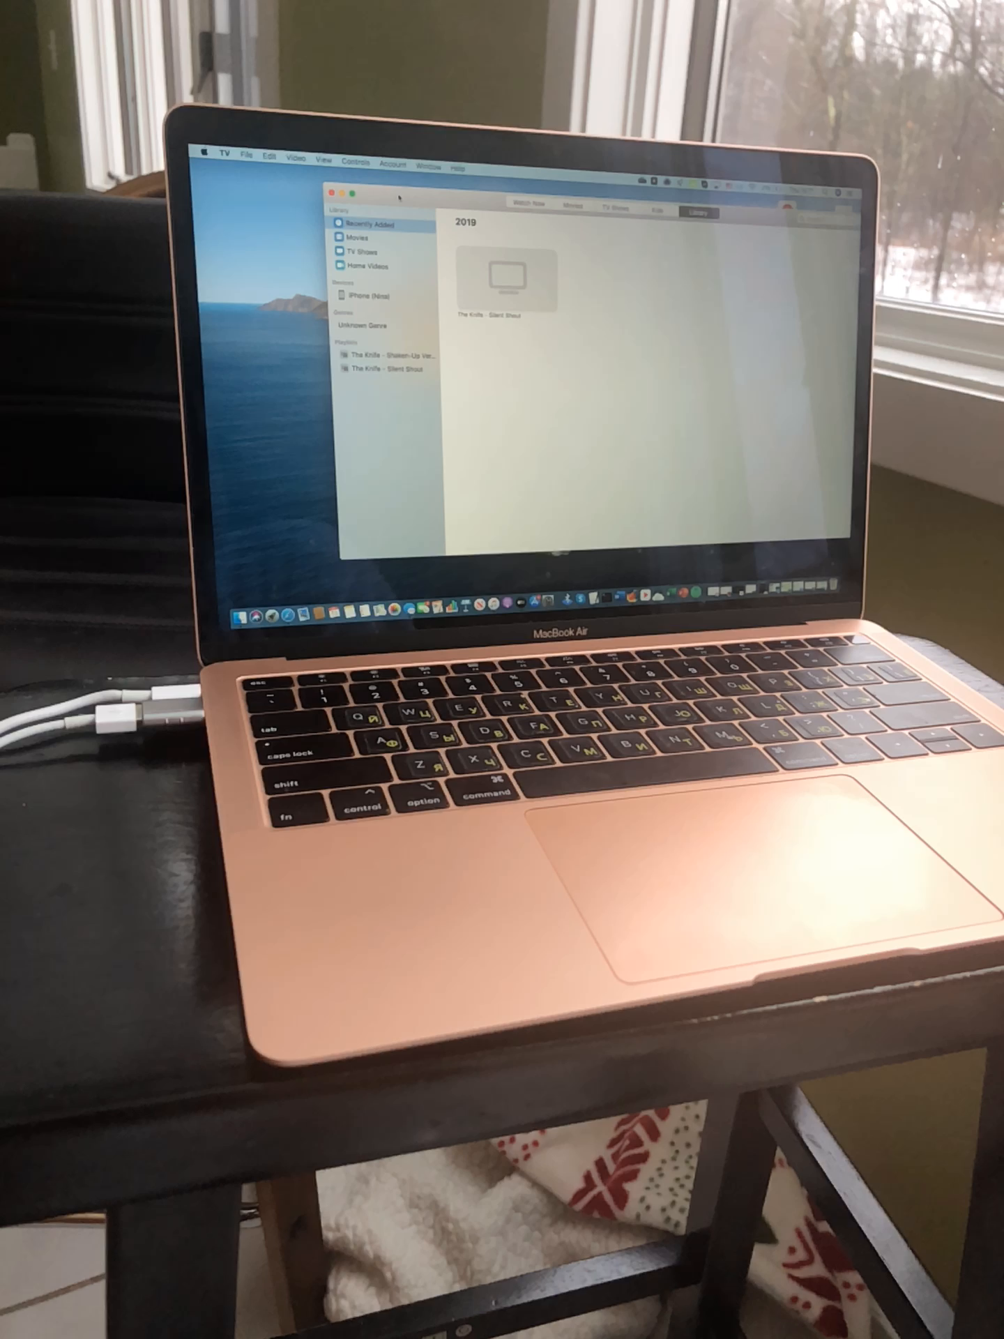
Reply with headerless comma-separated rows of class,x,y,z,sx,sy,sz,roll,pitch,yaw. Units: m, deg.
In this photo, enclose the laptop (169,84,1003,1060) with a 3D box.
laptop,0.054,-0.069,0.370,0.298,0.196,0.265,-4,26,-17
